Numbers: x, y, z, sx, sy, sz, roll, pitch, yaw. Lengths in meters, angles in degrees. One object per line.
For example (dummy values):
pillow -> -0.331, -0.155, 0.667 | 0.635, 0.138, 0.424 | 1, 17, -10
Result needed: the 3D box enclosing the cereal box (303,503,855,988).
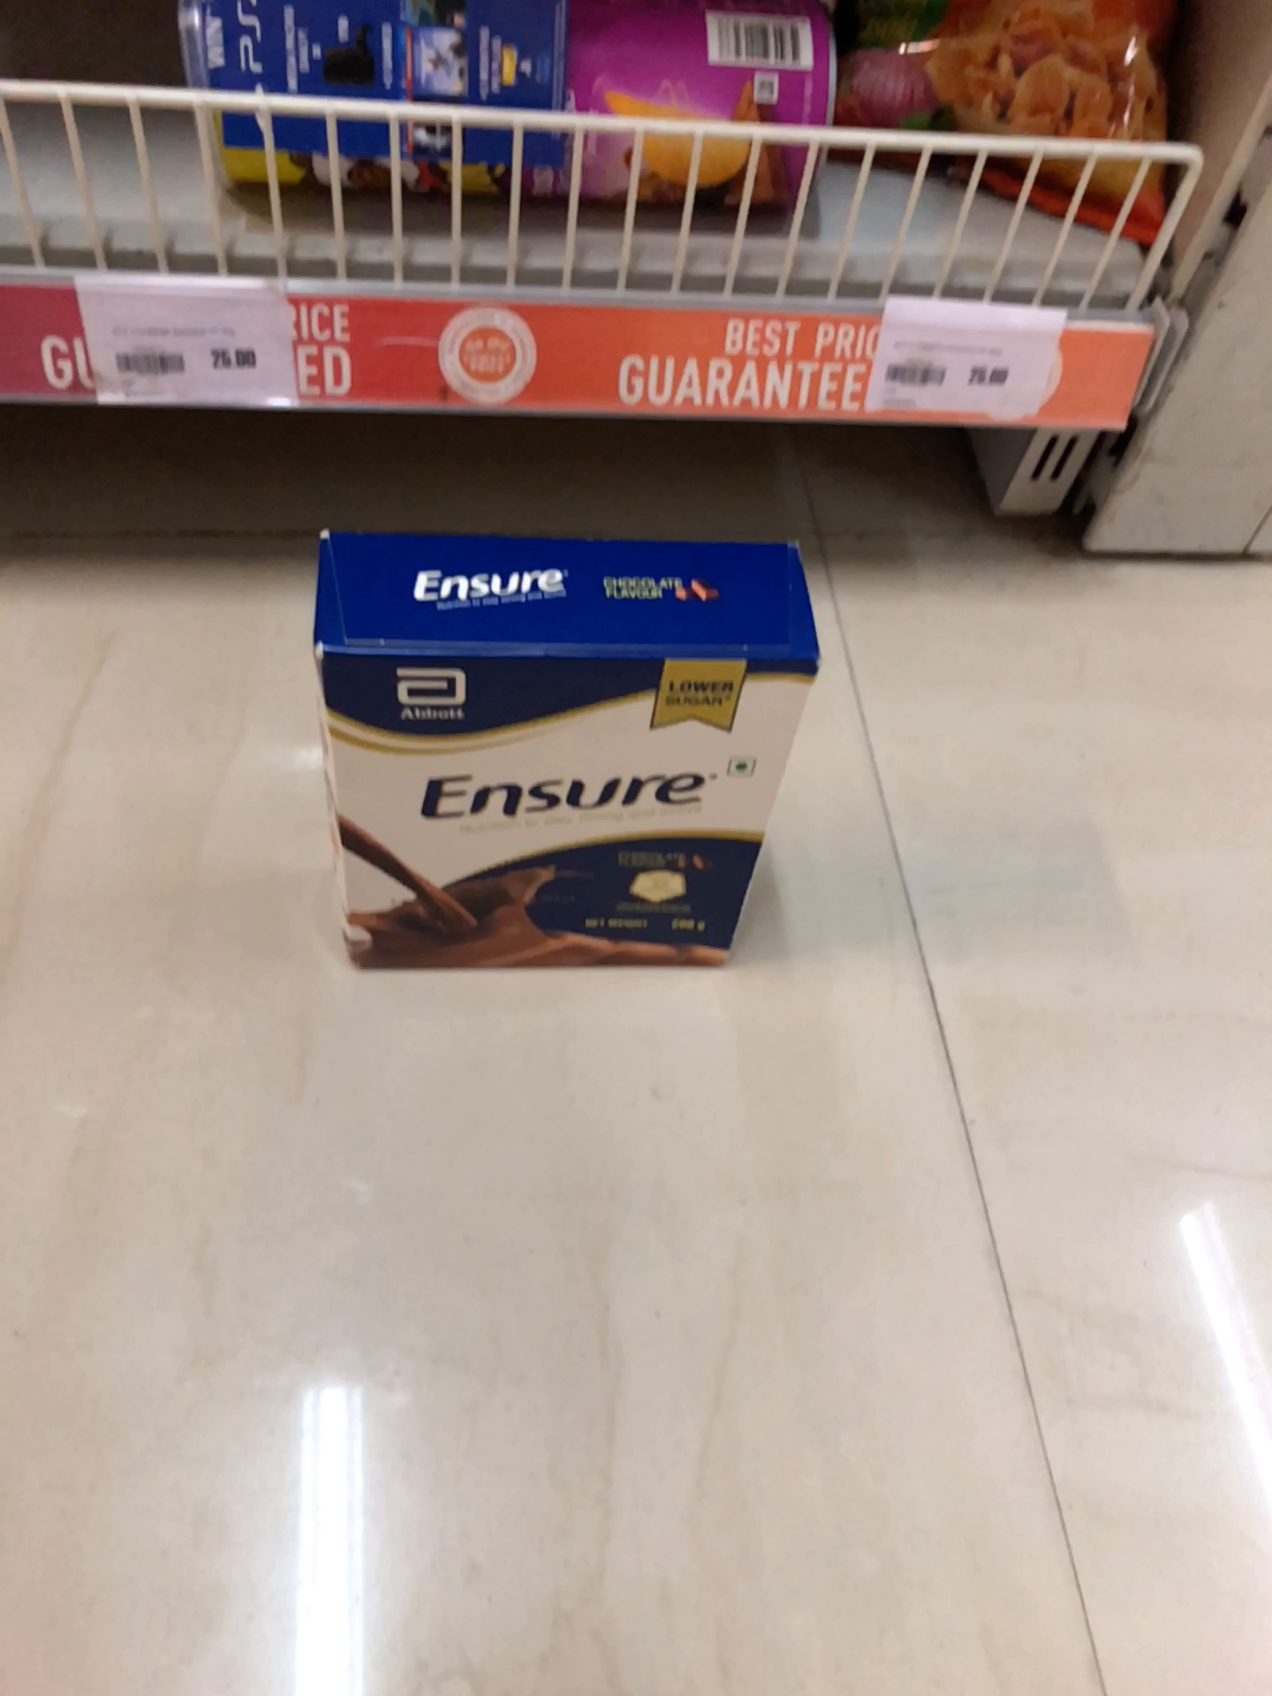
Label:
cereal box -> -0.024, -0.021, 0.445 | 0.140, 0.179, 0.050 | 0, 56, -8
